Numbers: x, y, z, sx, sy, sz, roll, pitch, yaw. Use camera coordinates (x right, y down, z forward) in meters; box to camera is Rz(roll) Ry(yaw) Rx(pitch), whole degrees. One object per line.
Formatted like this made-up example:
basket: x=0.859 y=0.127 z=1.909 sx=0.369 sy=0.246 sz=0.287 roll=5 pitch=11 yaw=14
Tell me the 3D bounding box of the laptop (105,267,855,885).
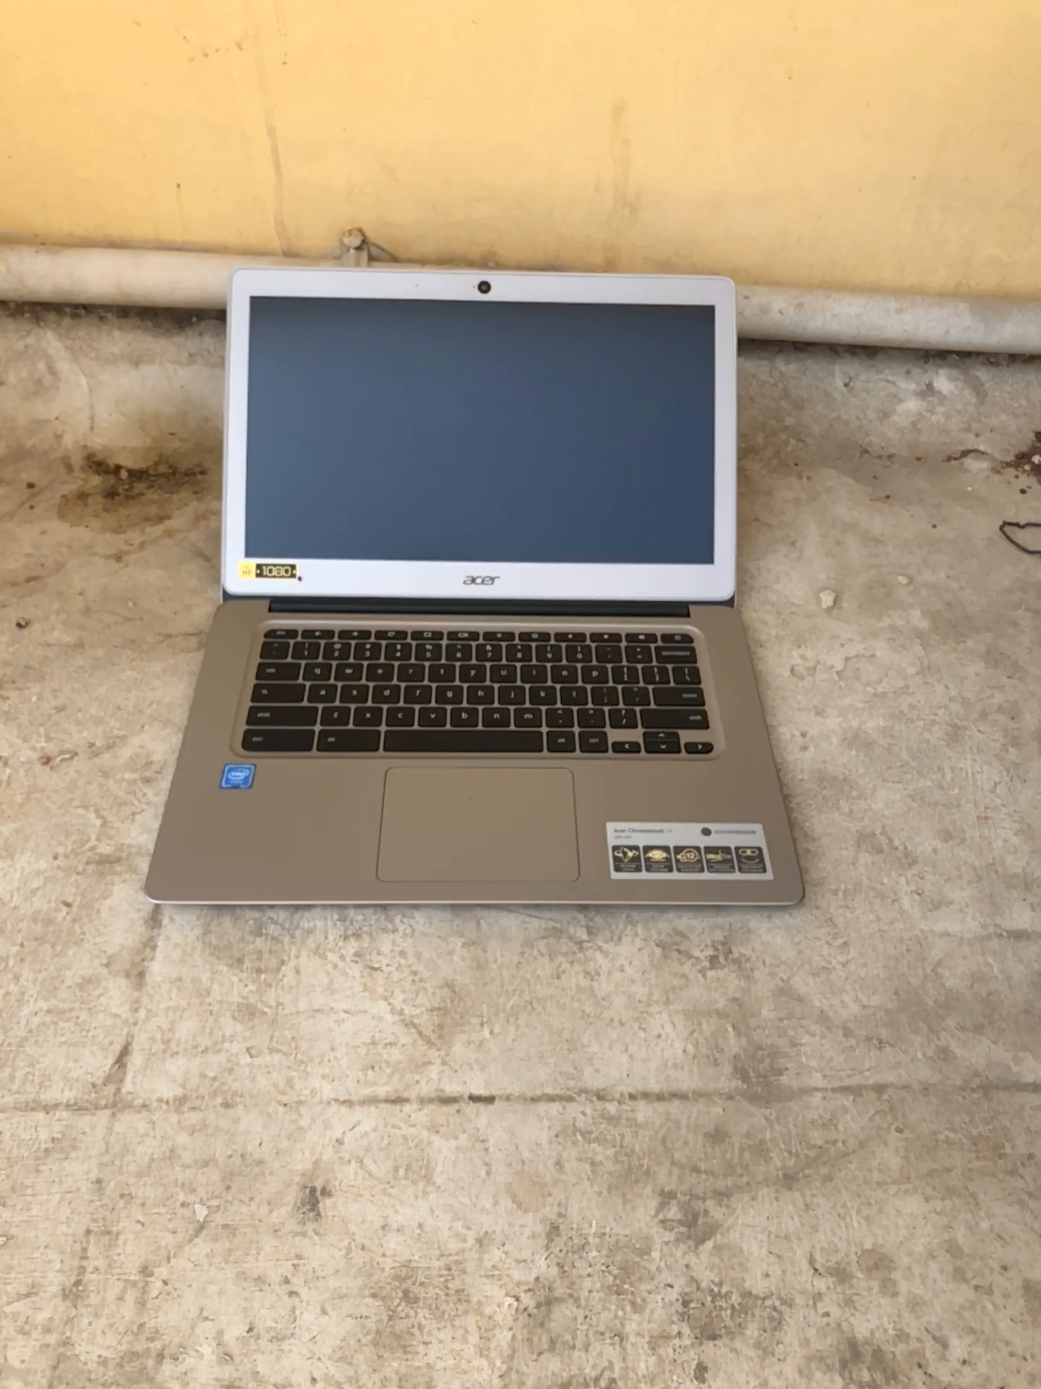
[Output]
laptop: x=-0.022 y=-0.090 z=0.664 sx=0.315 sy=0.136 sz=0.381 roll=1 pitch=46 yaw=-2
